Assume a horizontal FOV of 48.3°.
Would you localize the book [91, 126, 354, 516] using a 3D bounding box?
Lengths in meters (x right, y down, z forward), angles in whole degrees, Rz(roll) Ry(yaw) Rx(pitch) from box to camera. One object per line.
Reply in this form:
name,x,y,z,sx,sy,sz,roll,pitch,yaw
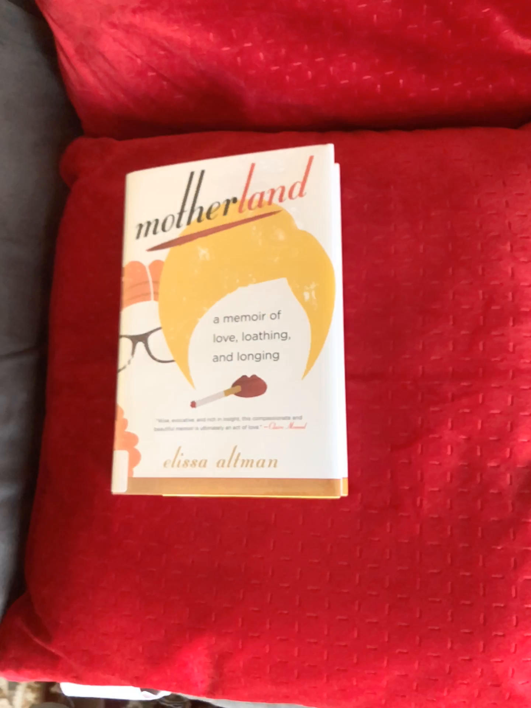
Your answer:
book,-0.023,-0.017,0.346,0.140,0.040,0.210,-2,80,13
